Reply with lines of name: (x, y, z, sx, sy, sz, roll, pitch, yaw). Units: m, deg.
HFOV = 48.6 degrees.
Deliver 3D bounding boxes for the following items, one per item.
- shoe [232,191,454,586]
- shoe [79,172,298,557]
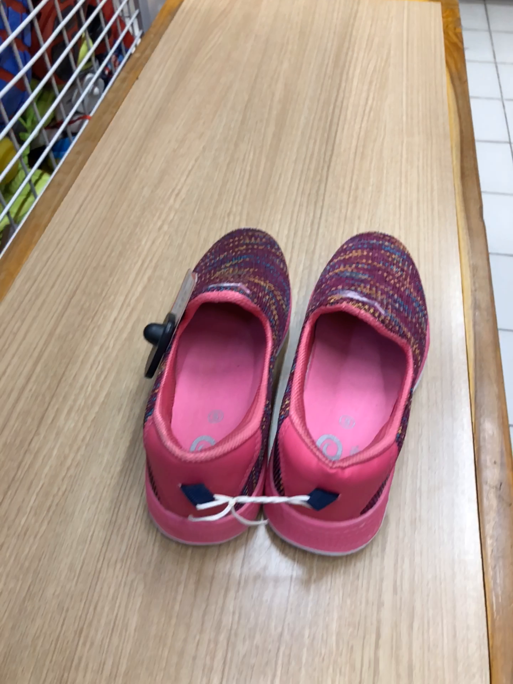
shoe: (0.072, 0.018, 0.414, 0.100, 0.099, 0.261, 11, 53, 11)
shoe: (-0.027, 0.001, 0.396, 0.090, 0.099, 0.251, 4, 52, 6)
